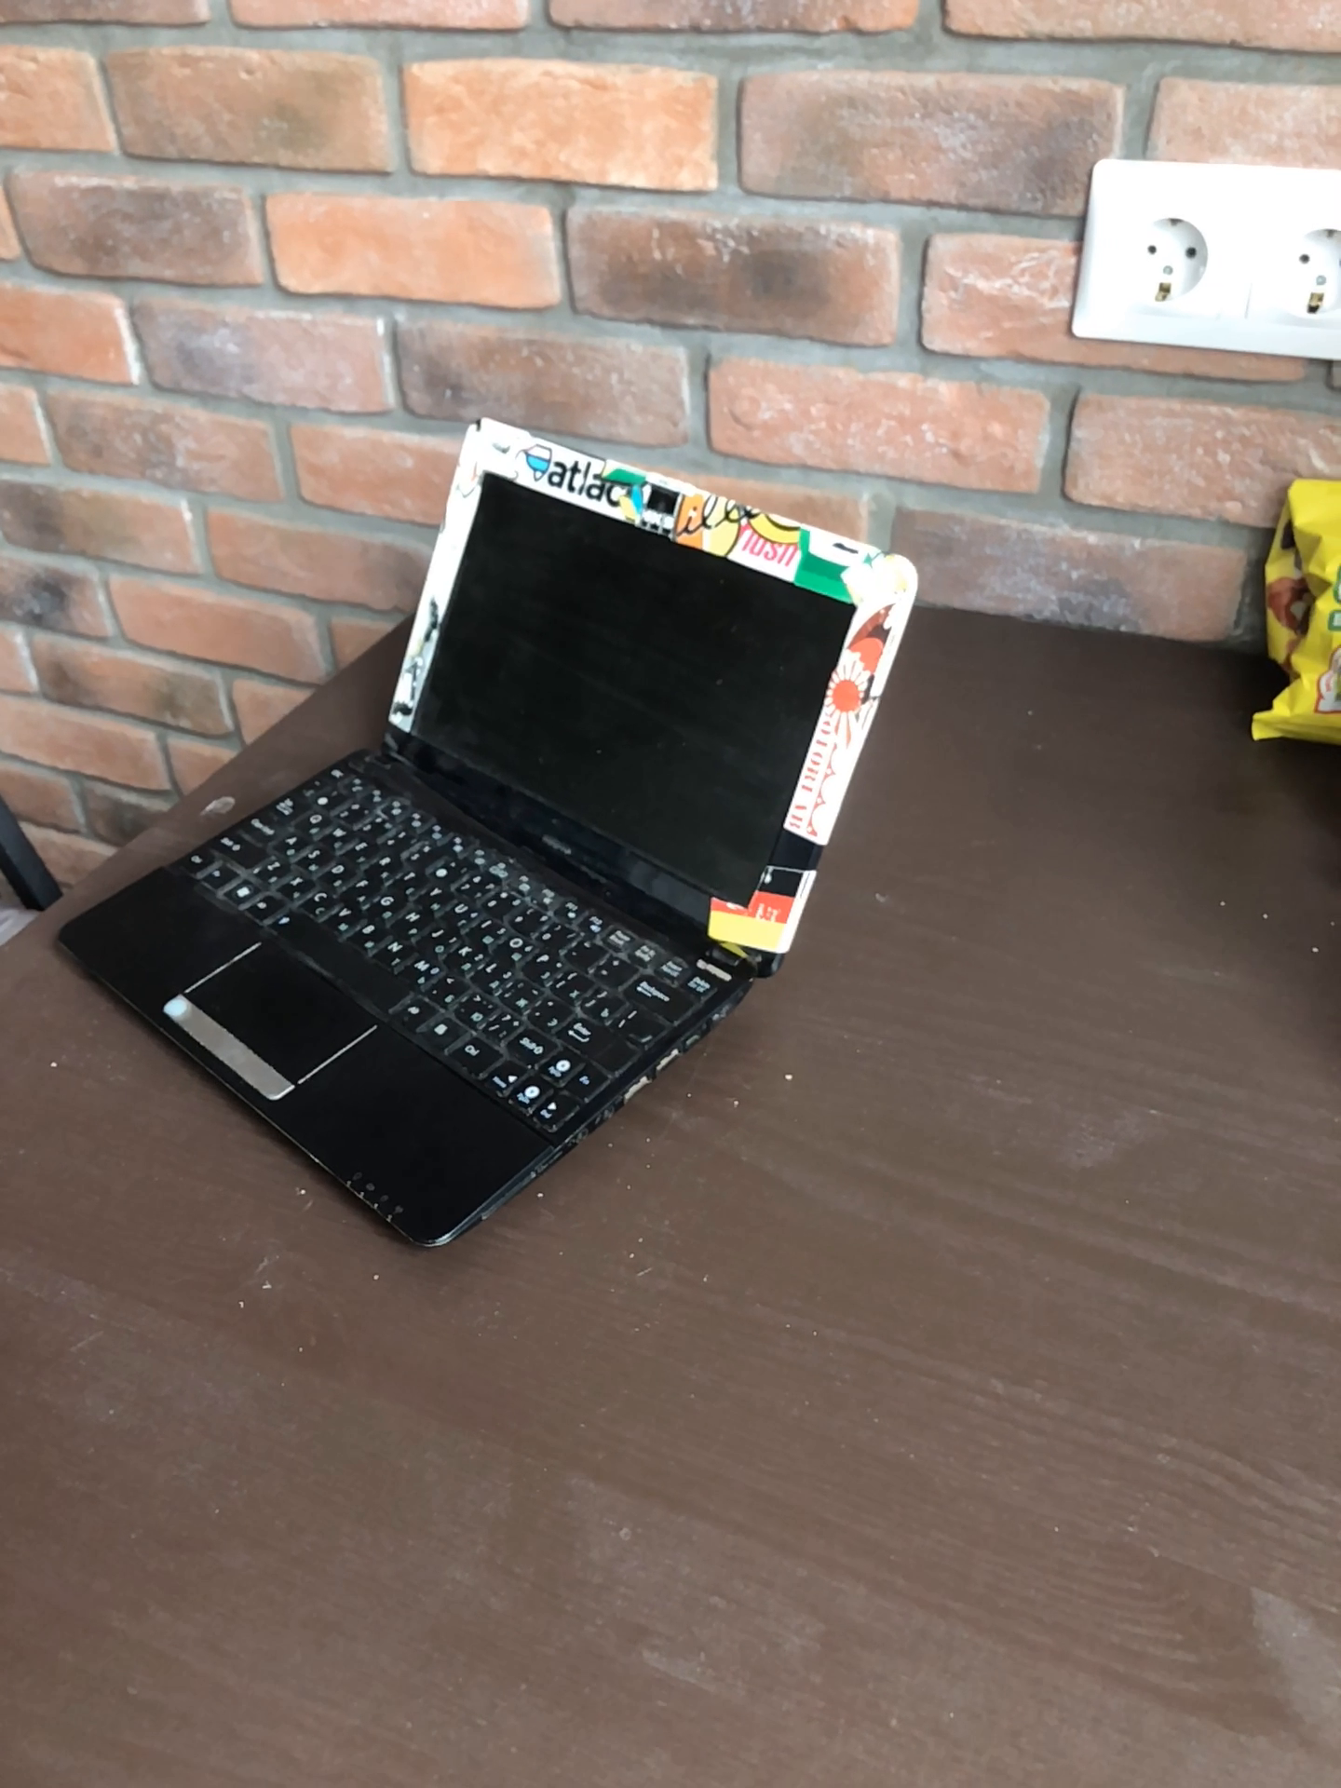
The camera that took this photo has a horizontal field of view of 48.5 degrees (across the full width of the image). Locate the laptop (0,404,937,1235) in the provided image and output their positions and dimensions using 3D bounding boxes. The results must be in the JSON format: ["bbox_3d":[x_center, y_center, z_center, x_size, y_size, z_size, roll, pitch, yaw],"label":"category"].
[{"bbox_3d":[-0.086,-0.058,0.595,0.258,0.140,0.268,29,49,36],"label":"laptop"}]
